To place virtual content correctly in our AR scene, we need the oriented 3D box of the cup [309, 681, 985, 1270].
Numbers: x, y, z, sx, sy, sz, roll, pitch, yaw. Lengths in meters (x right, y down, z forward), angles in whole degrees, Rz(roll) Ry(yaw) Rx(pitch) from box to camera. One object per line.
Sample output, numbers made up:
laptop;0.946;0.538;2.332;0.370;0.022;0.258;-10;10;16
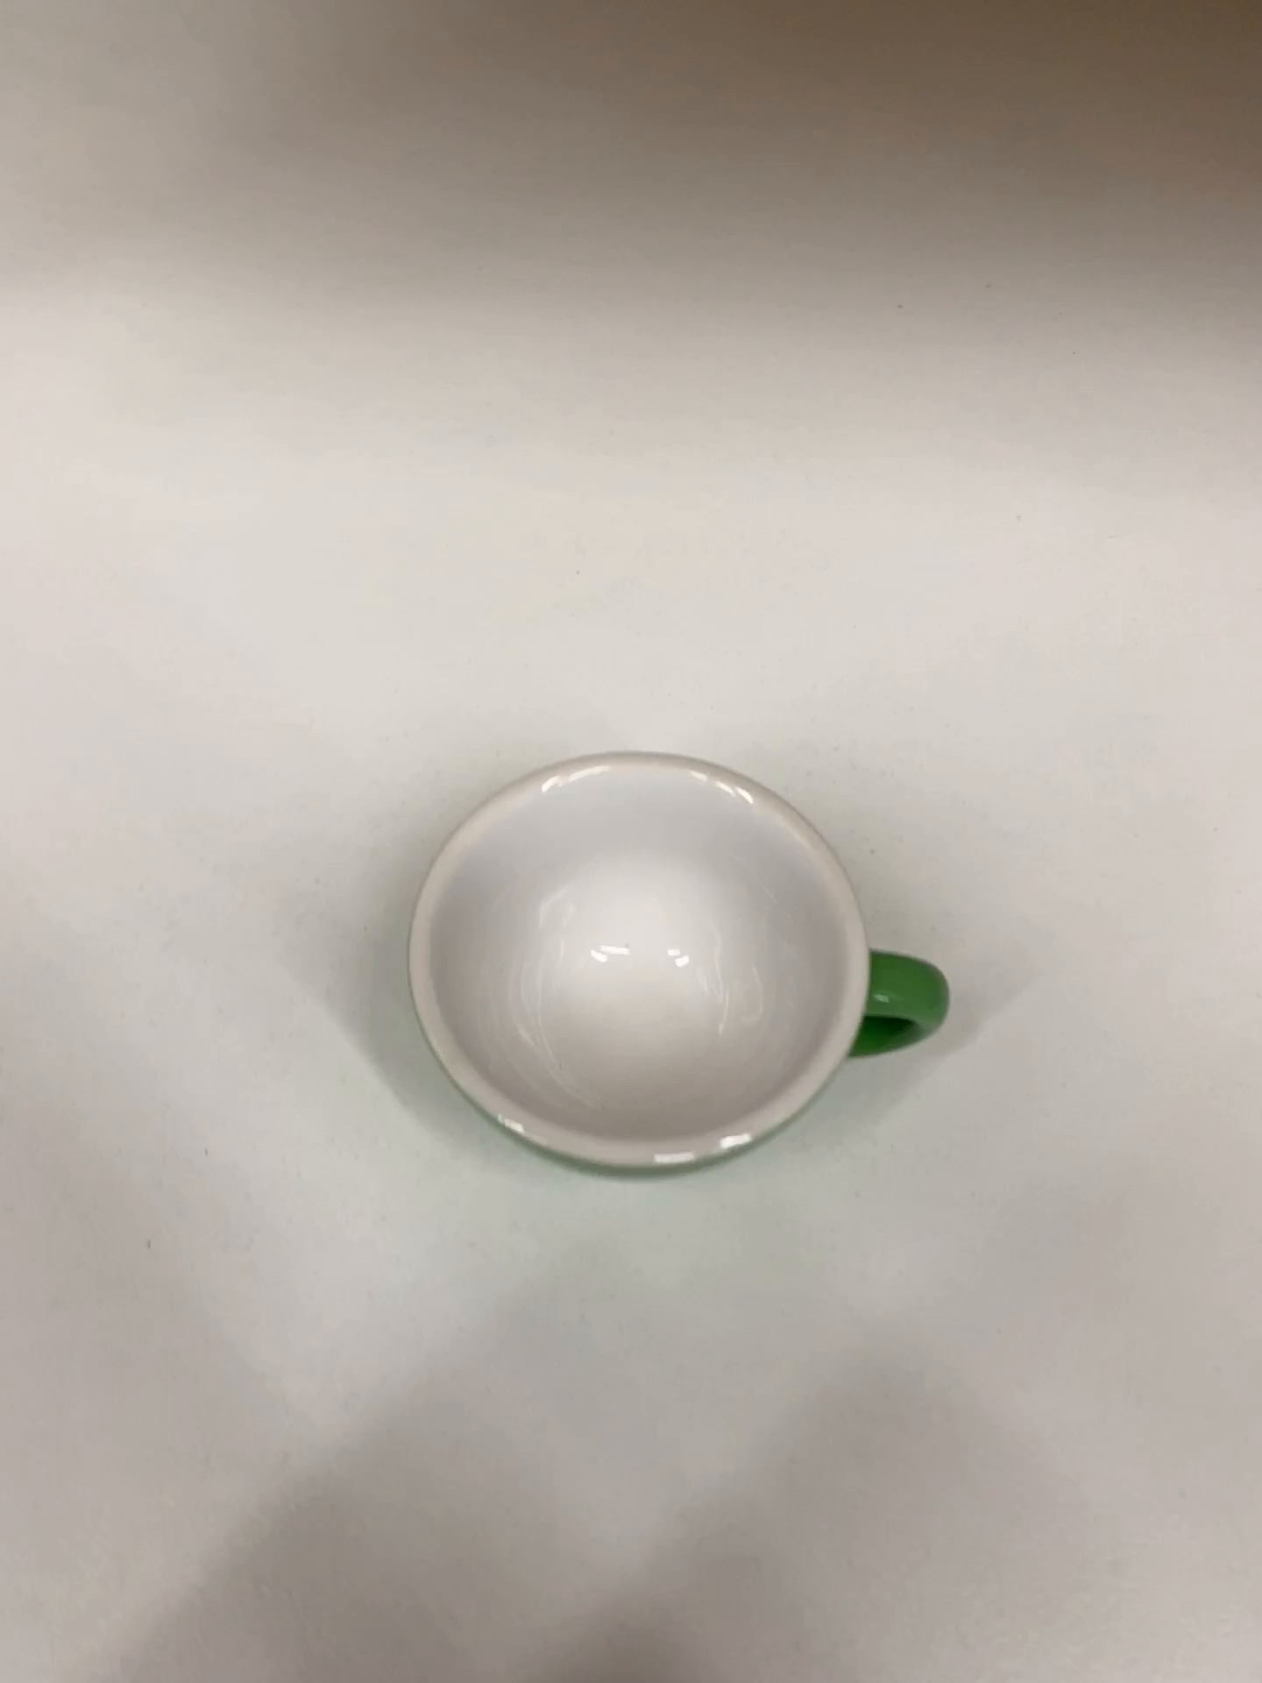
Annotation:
cup;0.003;0.017;0.168;0.070;0.040;0.060;3;60;2
